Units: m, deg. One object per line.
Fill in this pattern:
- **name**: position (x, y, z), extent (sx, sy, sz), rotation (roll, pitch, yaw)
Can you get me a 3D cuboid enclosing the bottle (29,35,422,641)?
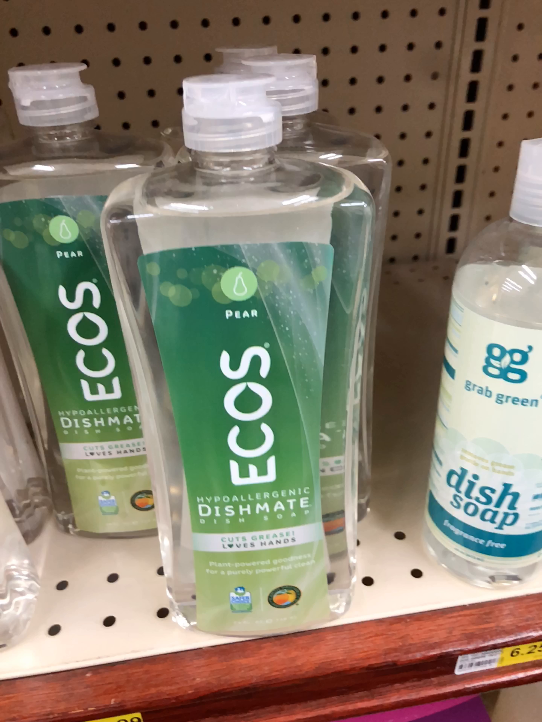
- **bottle**: position (-0.009, 0.011, 0.226), extent (0.092, 0.226, 0.050), rotation (-4, 33, -3)
